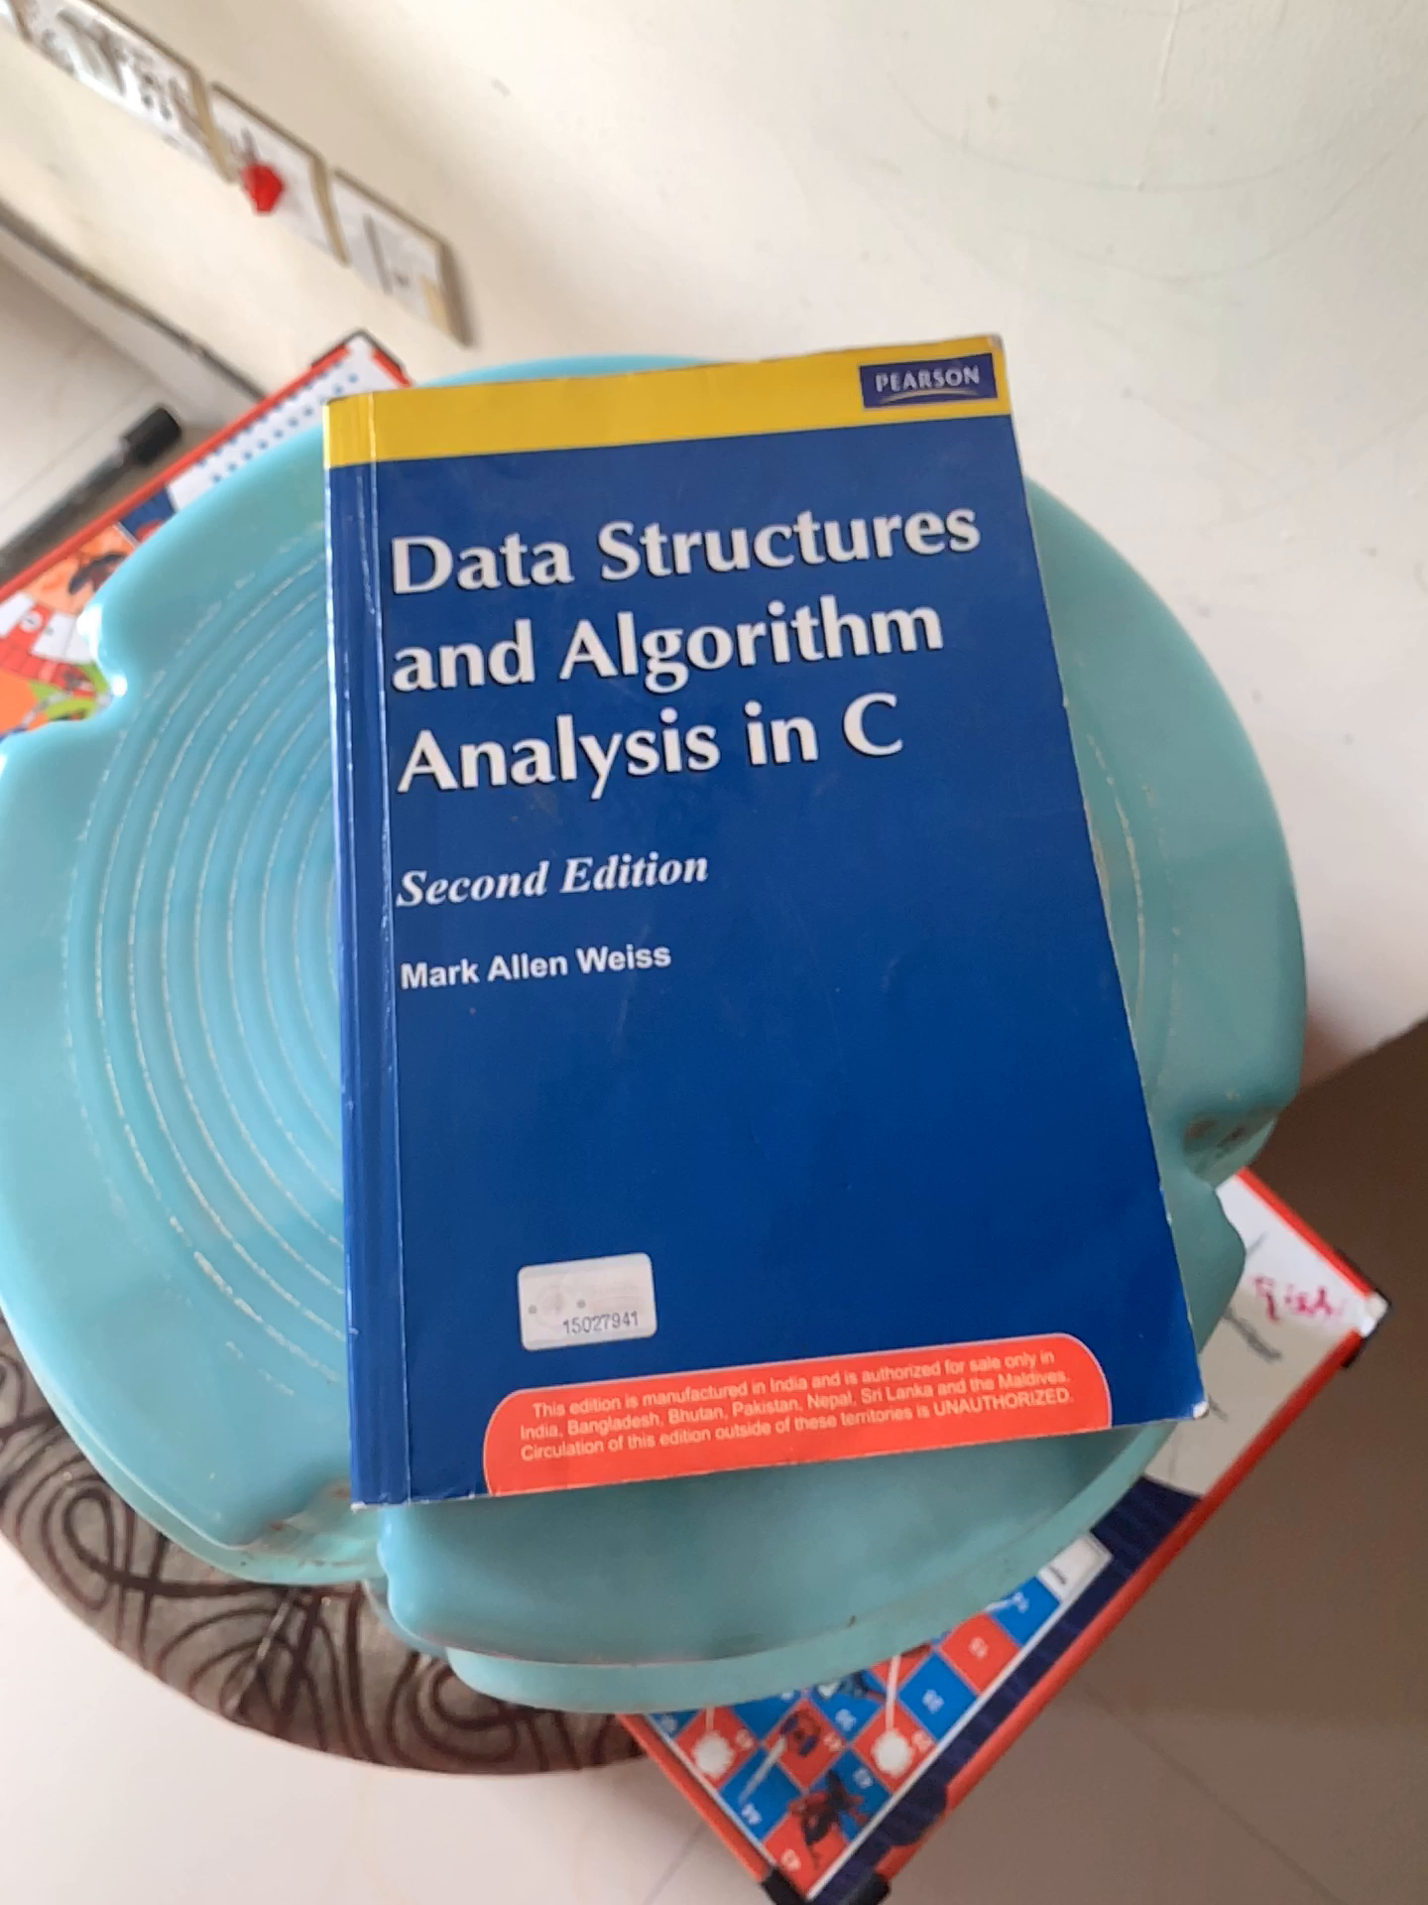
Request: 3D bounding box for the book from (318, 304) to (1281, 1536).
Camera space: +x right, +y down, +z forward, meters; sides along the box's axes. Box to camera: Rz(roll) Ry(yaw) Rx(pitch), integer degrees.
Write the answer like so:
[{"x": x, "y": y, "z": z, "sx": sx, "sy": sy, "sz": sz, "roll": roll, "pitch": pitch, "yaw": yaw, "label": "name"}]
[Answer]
[{"x": 0.006, "y": -0.019, "z": 0.306, "sx": 0.160, "sy": 0.030, "sz": 0.241, "roll": -6, "pitch": 72, "yaw": -3, "label": "book"}]
